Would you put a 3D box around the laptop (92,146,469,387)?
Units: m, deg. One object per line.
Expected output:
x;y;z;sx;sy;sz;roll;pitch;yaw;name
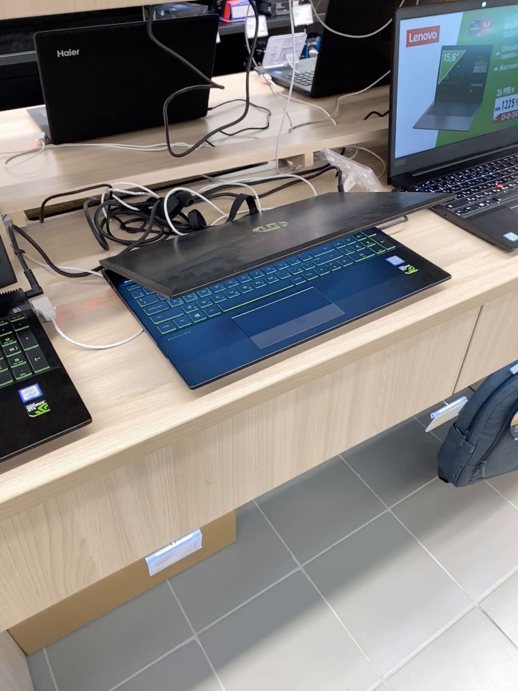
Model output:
0.025;-0.124;0.634;0.361;0.092;0.243;-22;46;-26;laptop
